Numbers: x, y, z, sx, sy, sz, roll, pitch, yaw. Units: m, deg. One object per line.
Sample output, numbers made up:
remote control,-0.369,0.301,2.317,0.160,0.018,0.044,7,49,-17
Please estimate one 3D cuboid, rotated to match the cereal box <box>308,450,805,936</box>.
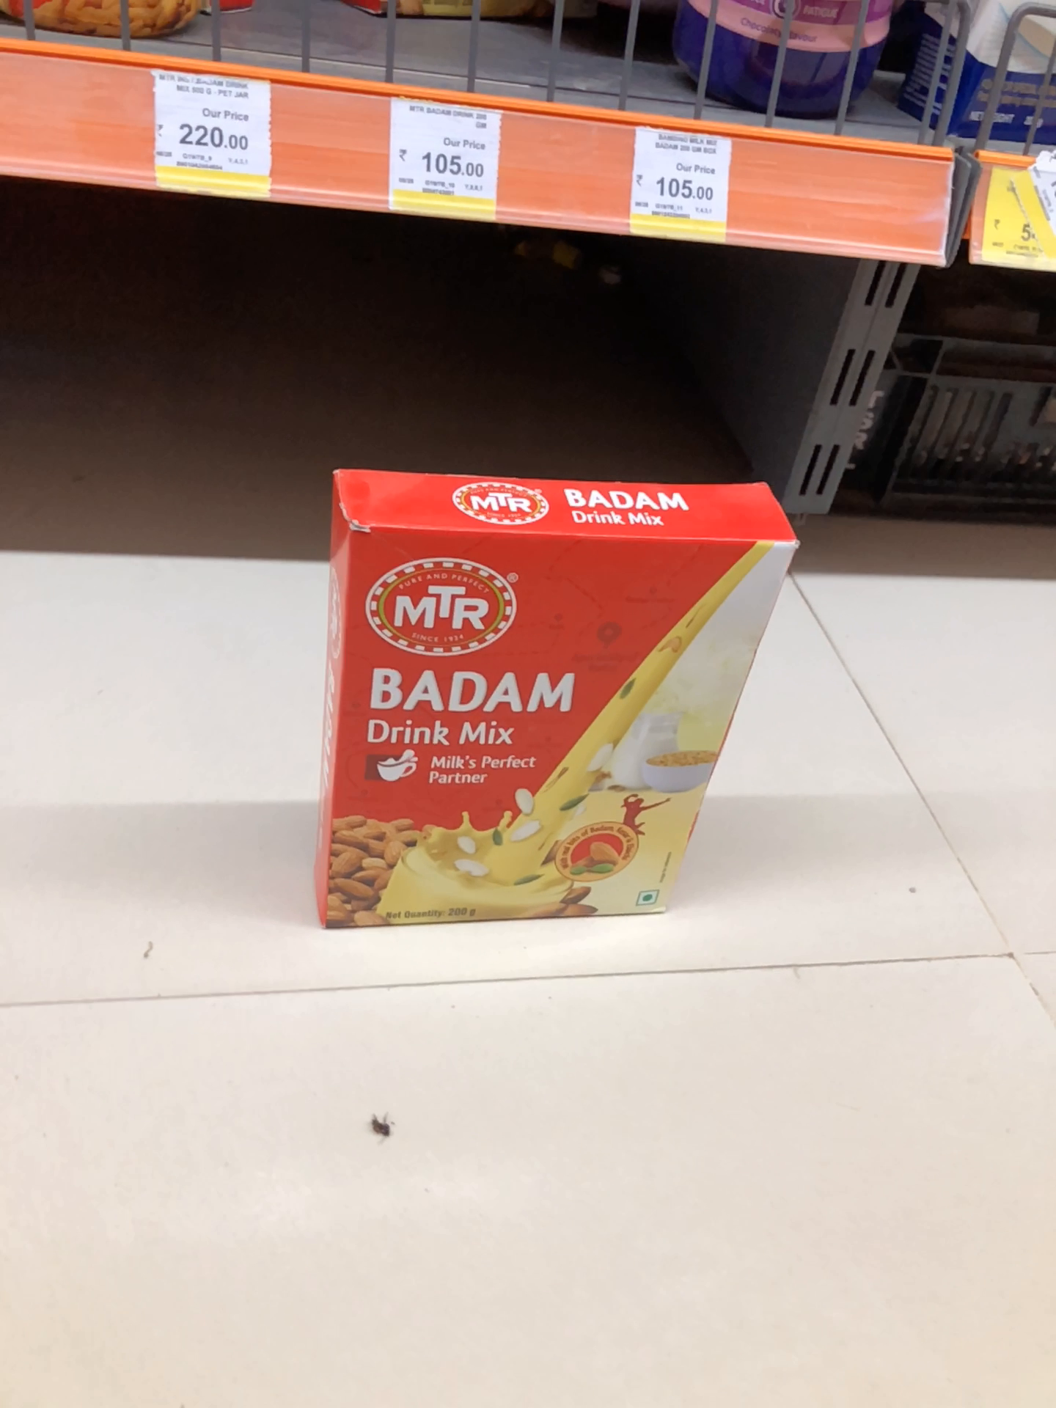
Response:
cereal box,-0.001,0.003,0.373,0.130,0.159,0.040,-1,40,-14
